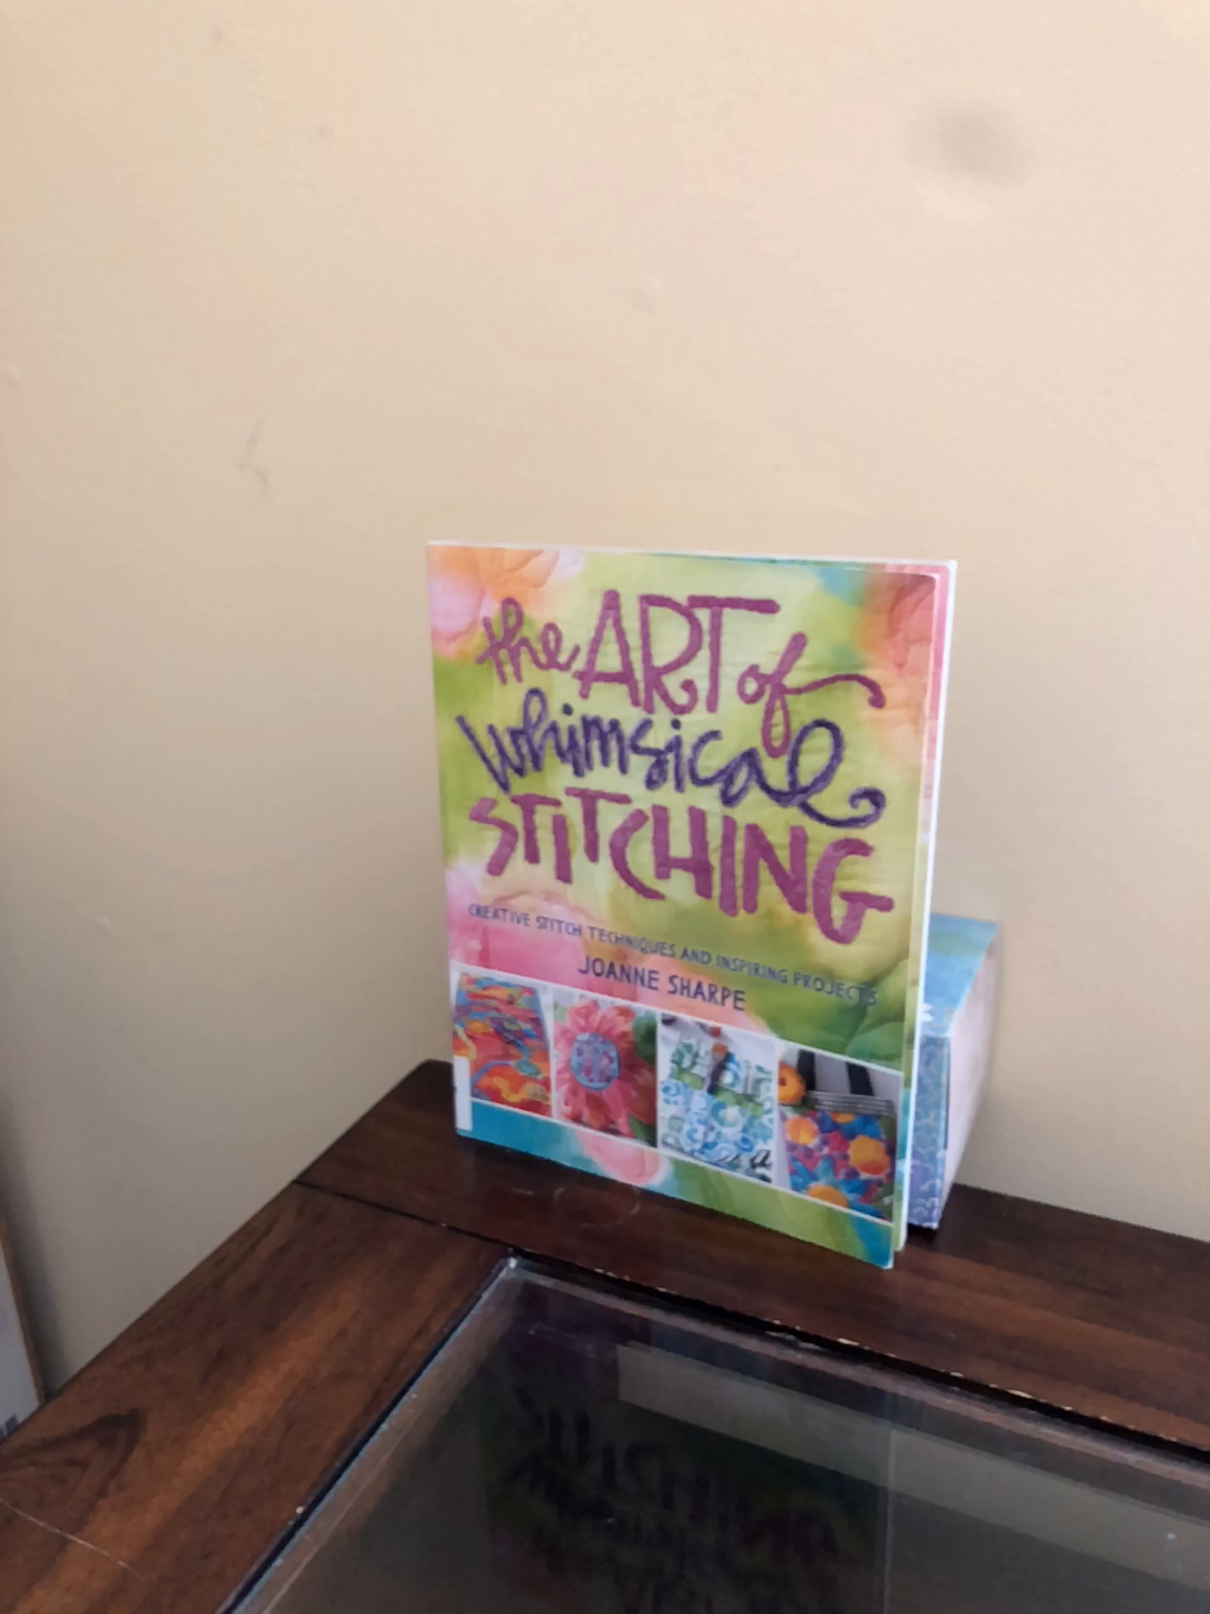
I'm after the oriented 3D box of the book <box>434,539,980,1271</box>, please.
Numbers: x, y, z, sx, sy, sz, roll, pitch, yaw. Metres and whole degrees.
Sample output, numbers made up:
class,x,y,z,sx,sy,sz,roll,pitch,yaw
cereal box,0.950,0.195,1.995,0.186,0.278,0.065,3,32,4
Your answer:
class,x,y,z,sx,sy,sz,roll,pitch,yaw
book,0.029,0.032,0.543,0.214,0.263,0.029,9,17,28
